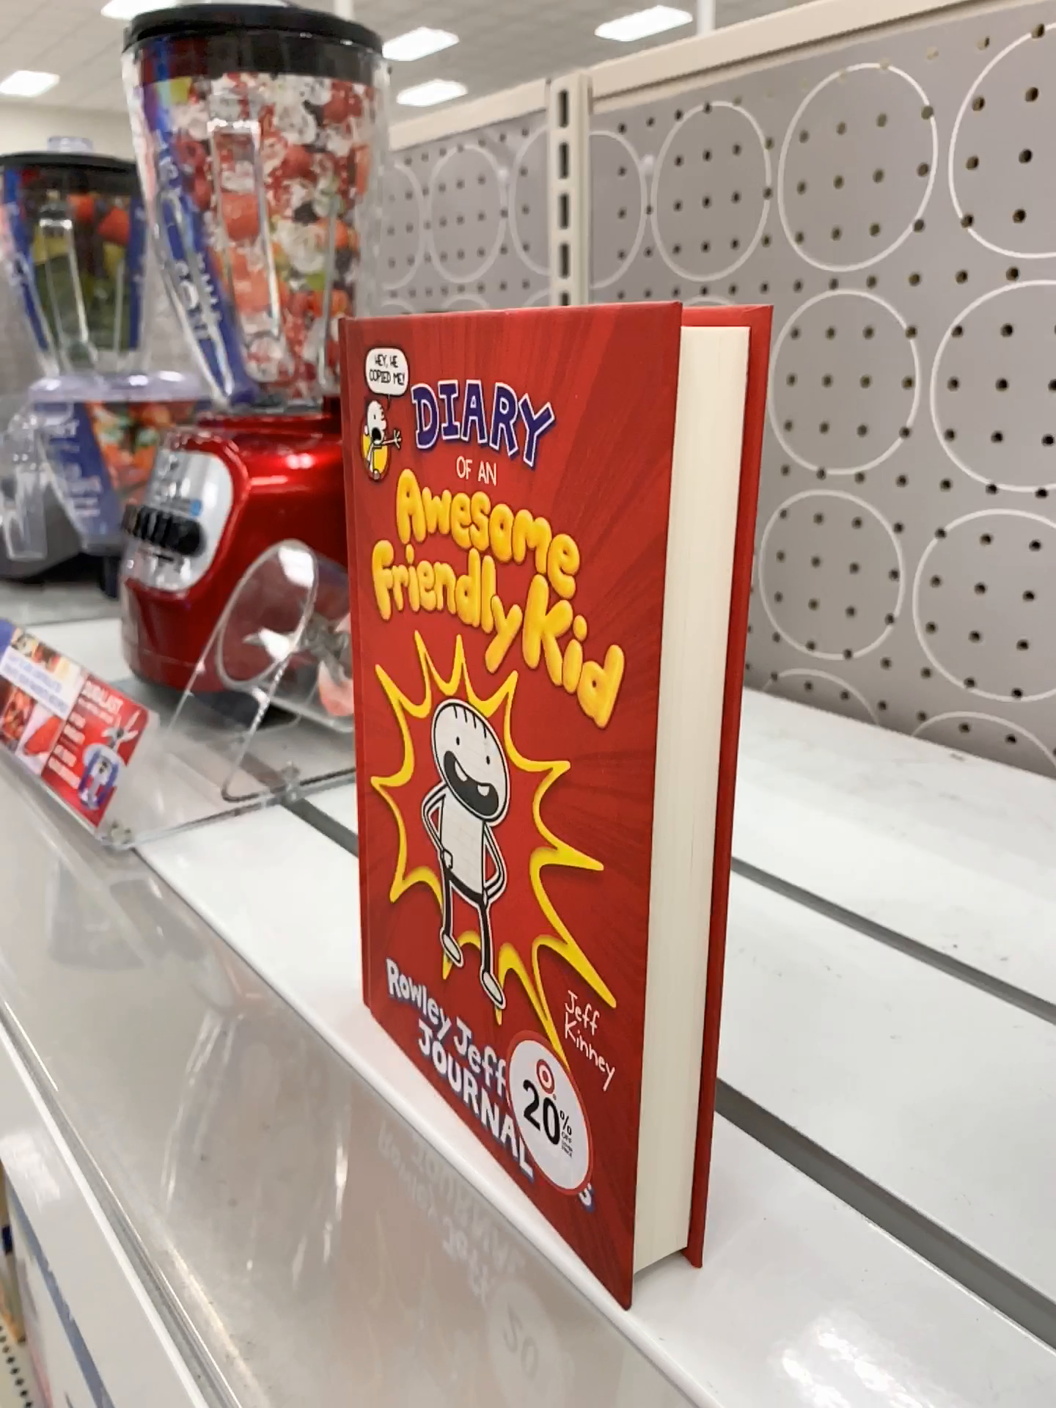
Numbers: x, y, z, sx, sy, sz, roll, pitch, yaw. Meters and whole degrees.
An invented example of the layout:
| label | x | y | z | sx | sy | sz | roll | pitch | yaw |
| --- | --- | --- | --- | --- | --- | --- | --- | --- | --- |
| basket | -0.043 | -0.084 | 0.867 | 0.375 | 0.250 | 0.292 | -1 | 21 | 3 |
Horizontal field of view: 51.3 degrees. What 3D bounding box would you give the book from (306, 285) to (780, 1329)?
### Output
| label | x | y | z | sx | sy | sz | roll | pitch | yaw |
| --- | --- | --- | --- | --- | --- | --- | --- | --- | --- |
| book | -0.009 | 0.013 | 0.269 | 0.030 | 0.209 | 0.140 | -10 | 20 | -32 |
